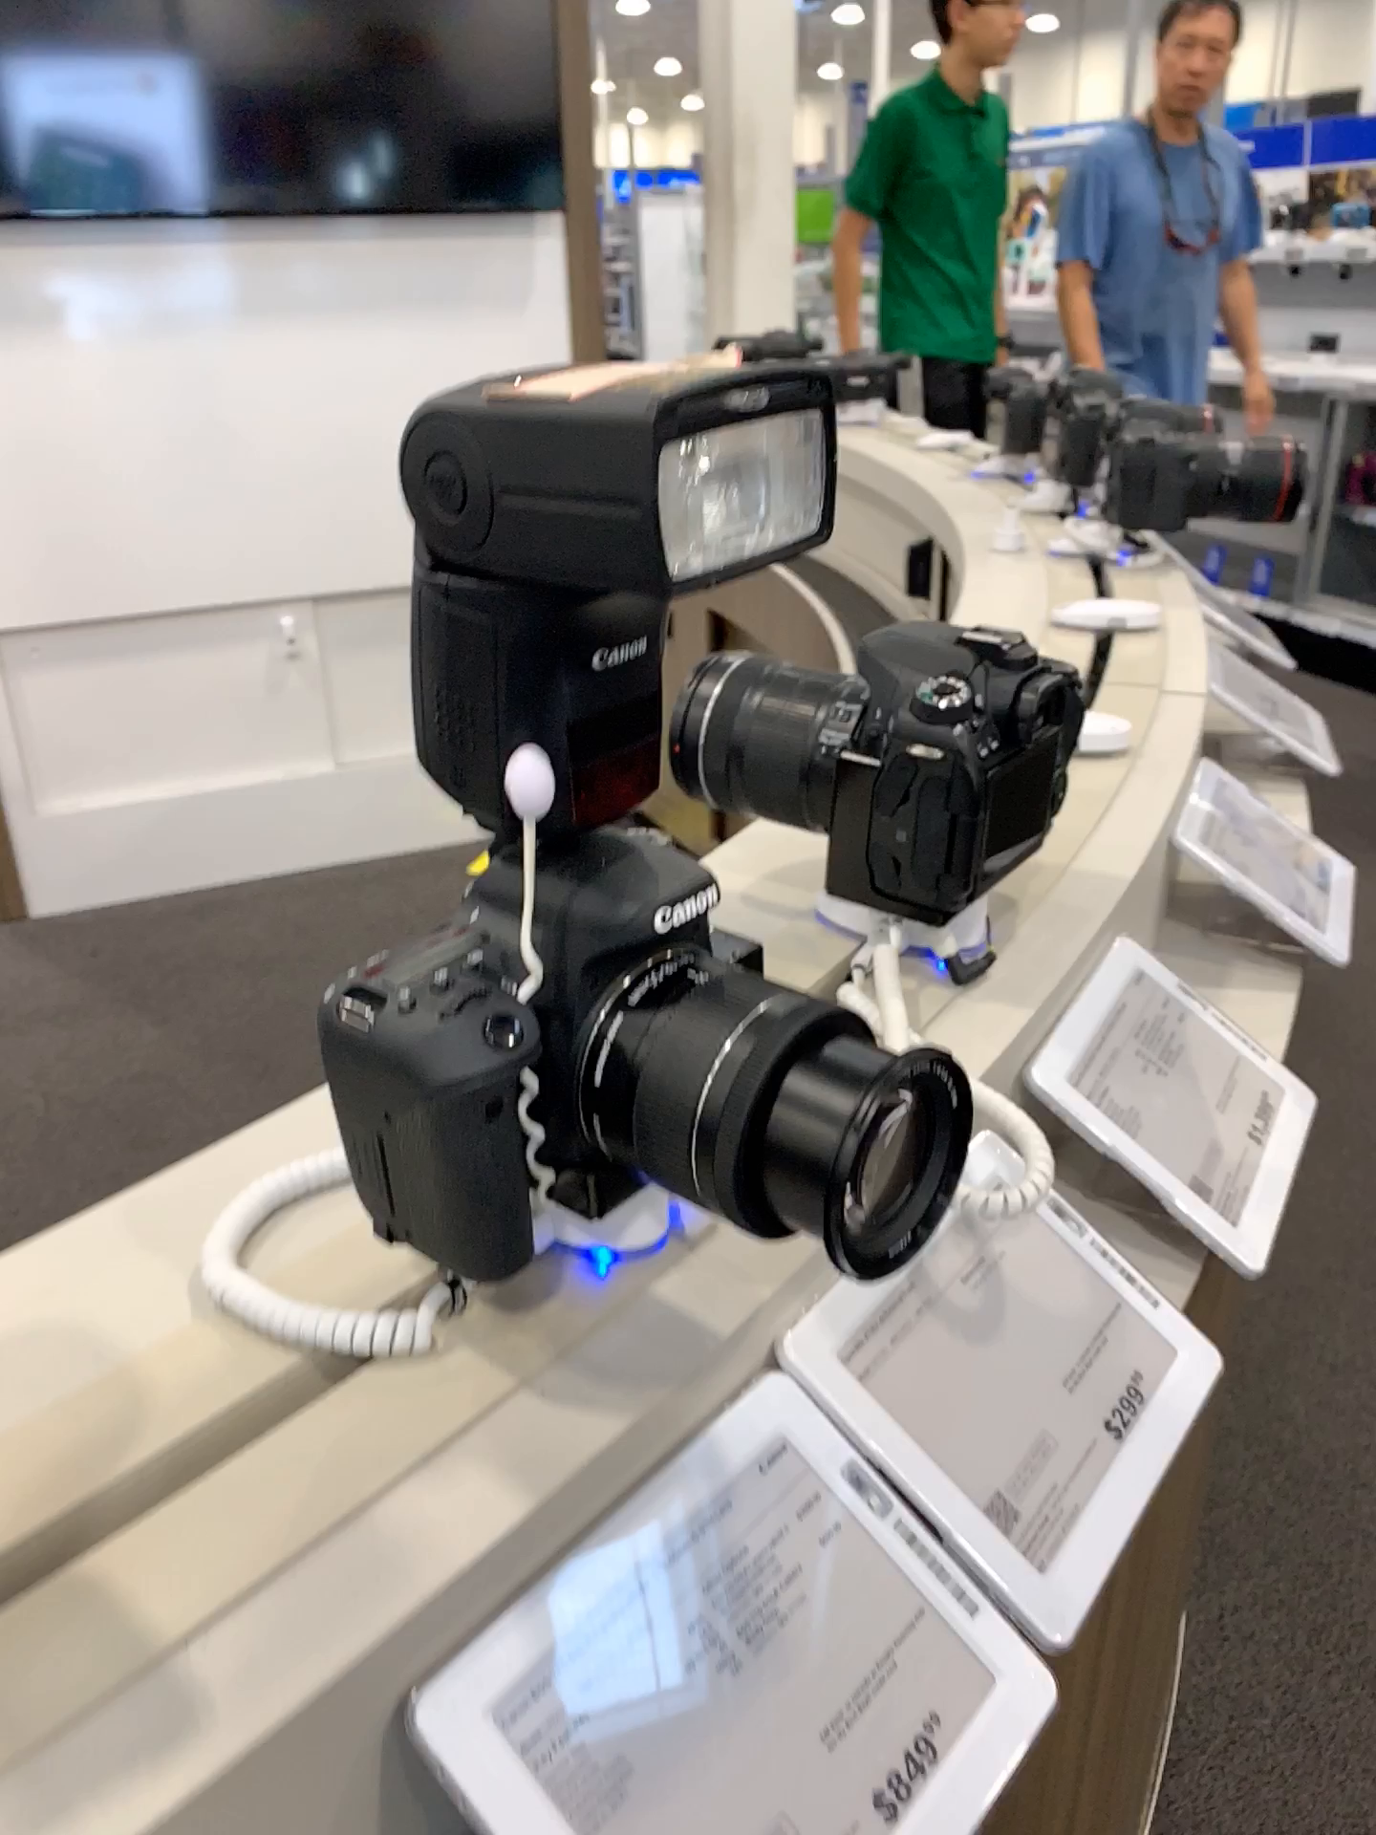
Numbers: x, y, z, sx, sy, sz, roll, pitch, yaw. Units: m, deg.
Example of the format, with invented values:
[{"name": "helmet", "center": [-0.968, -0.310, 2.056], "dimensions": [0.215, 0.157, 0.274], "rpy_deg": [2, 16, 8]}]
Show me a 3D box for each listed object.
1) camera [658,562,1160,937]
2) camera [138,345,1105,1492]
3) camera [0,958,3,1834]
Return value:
[{"name": "camera", "center": [0.097, -0.084, 0.632], "dimensions": [0.166, 0.103, 0.140], "rpy_deg": [17, 31, 34]}, {"name": "camera", "center": [-0.015, -0.020, 0.379], "dimensions": [0.176, 0.232, 0.140], "rpy_deg": [19, 32, 37]}, {"name": "camera", "center": [-0.262, 0.103, 0.298], "dimensions": [0.166, 0.103, 0.140], "rpy_deg": [20, 33, 37]}]
